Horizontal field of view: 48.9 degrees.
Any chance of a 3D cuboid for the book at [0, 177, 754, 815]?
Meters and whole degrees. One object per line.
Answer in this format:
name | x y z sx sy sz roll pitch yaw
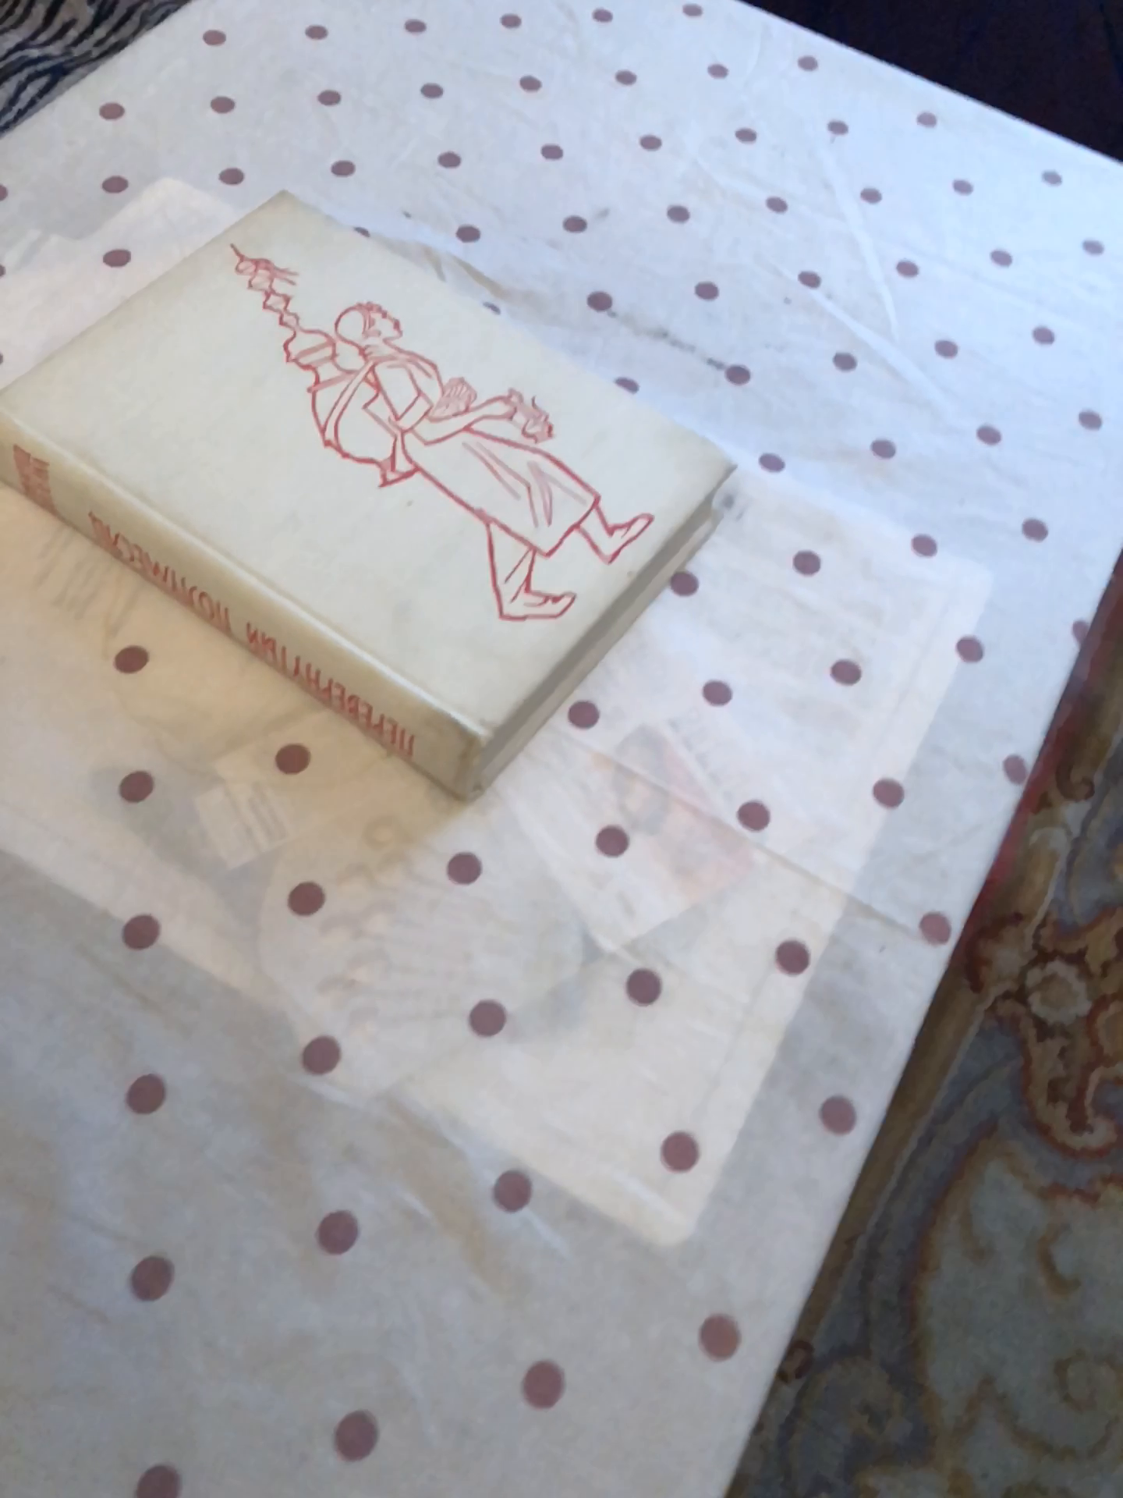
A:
book | -0.075 -0.112 0.491 0.240 0.050 0.175 33 63 13
